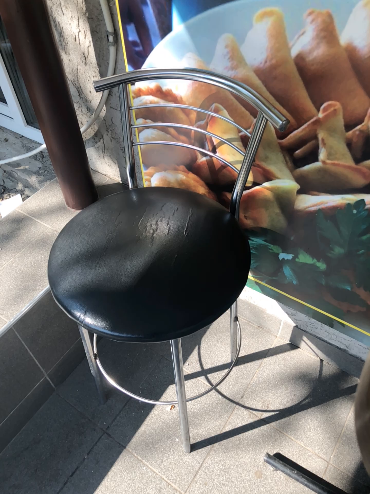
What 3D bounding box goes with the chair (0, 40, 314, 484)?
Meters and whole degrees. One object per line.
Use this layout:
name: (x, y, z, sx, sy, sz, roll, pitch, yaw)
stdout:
chair: (-0.079, 0.111, 0.990, 0.480, 0.936, 0.481, 19, 52, 18)
